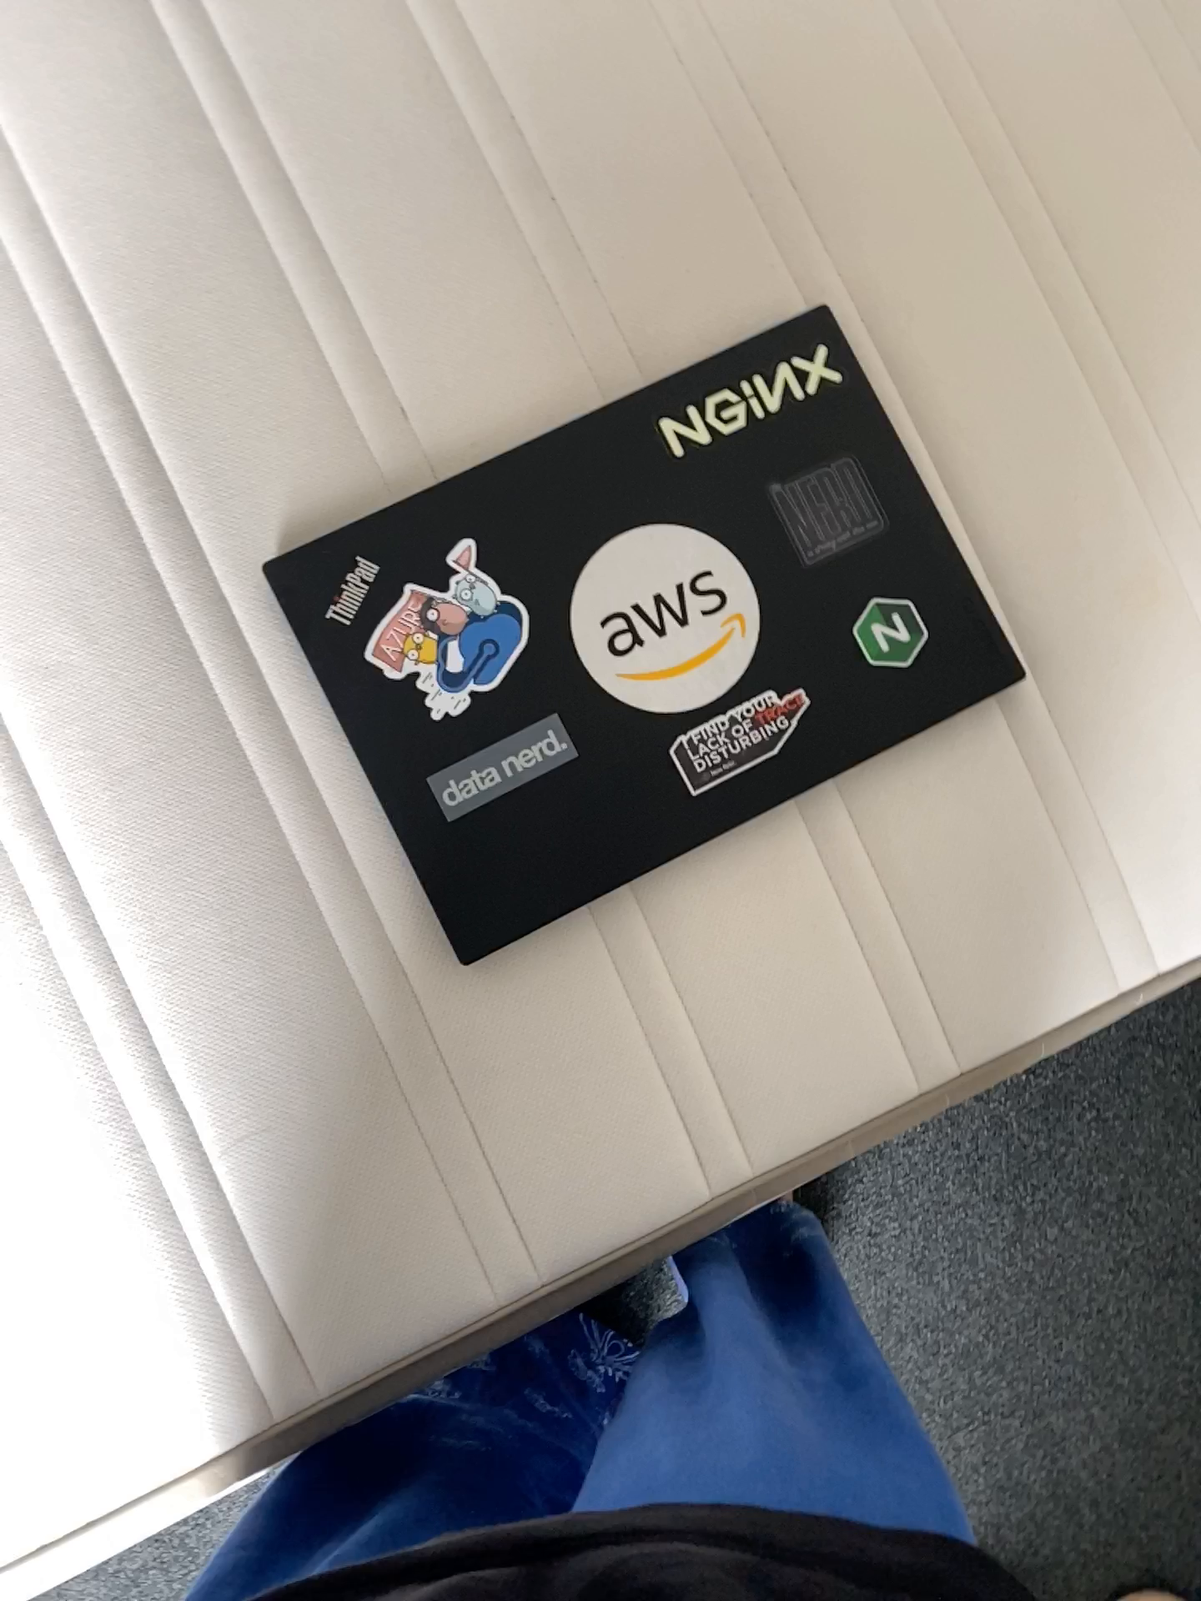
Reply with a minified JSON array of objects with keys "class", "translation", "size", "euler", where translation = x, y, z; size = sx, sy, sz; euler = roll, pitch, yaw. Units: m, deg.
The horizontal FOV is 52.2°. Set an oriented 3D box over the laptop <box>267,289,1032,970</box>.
[{"class":"laptop","translation":[0.025,-0.092,0.618],"size":[0.322,0.014,0.224],"euler":[-27,83,-5]}]
